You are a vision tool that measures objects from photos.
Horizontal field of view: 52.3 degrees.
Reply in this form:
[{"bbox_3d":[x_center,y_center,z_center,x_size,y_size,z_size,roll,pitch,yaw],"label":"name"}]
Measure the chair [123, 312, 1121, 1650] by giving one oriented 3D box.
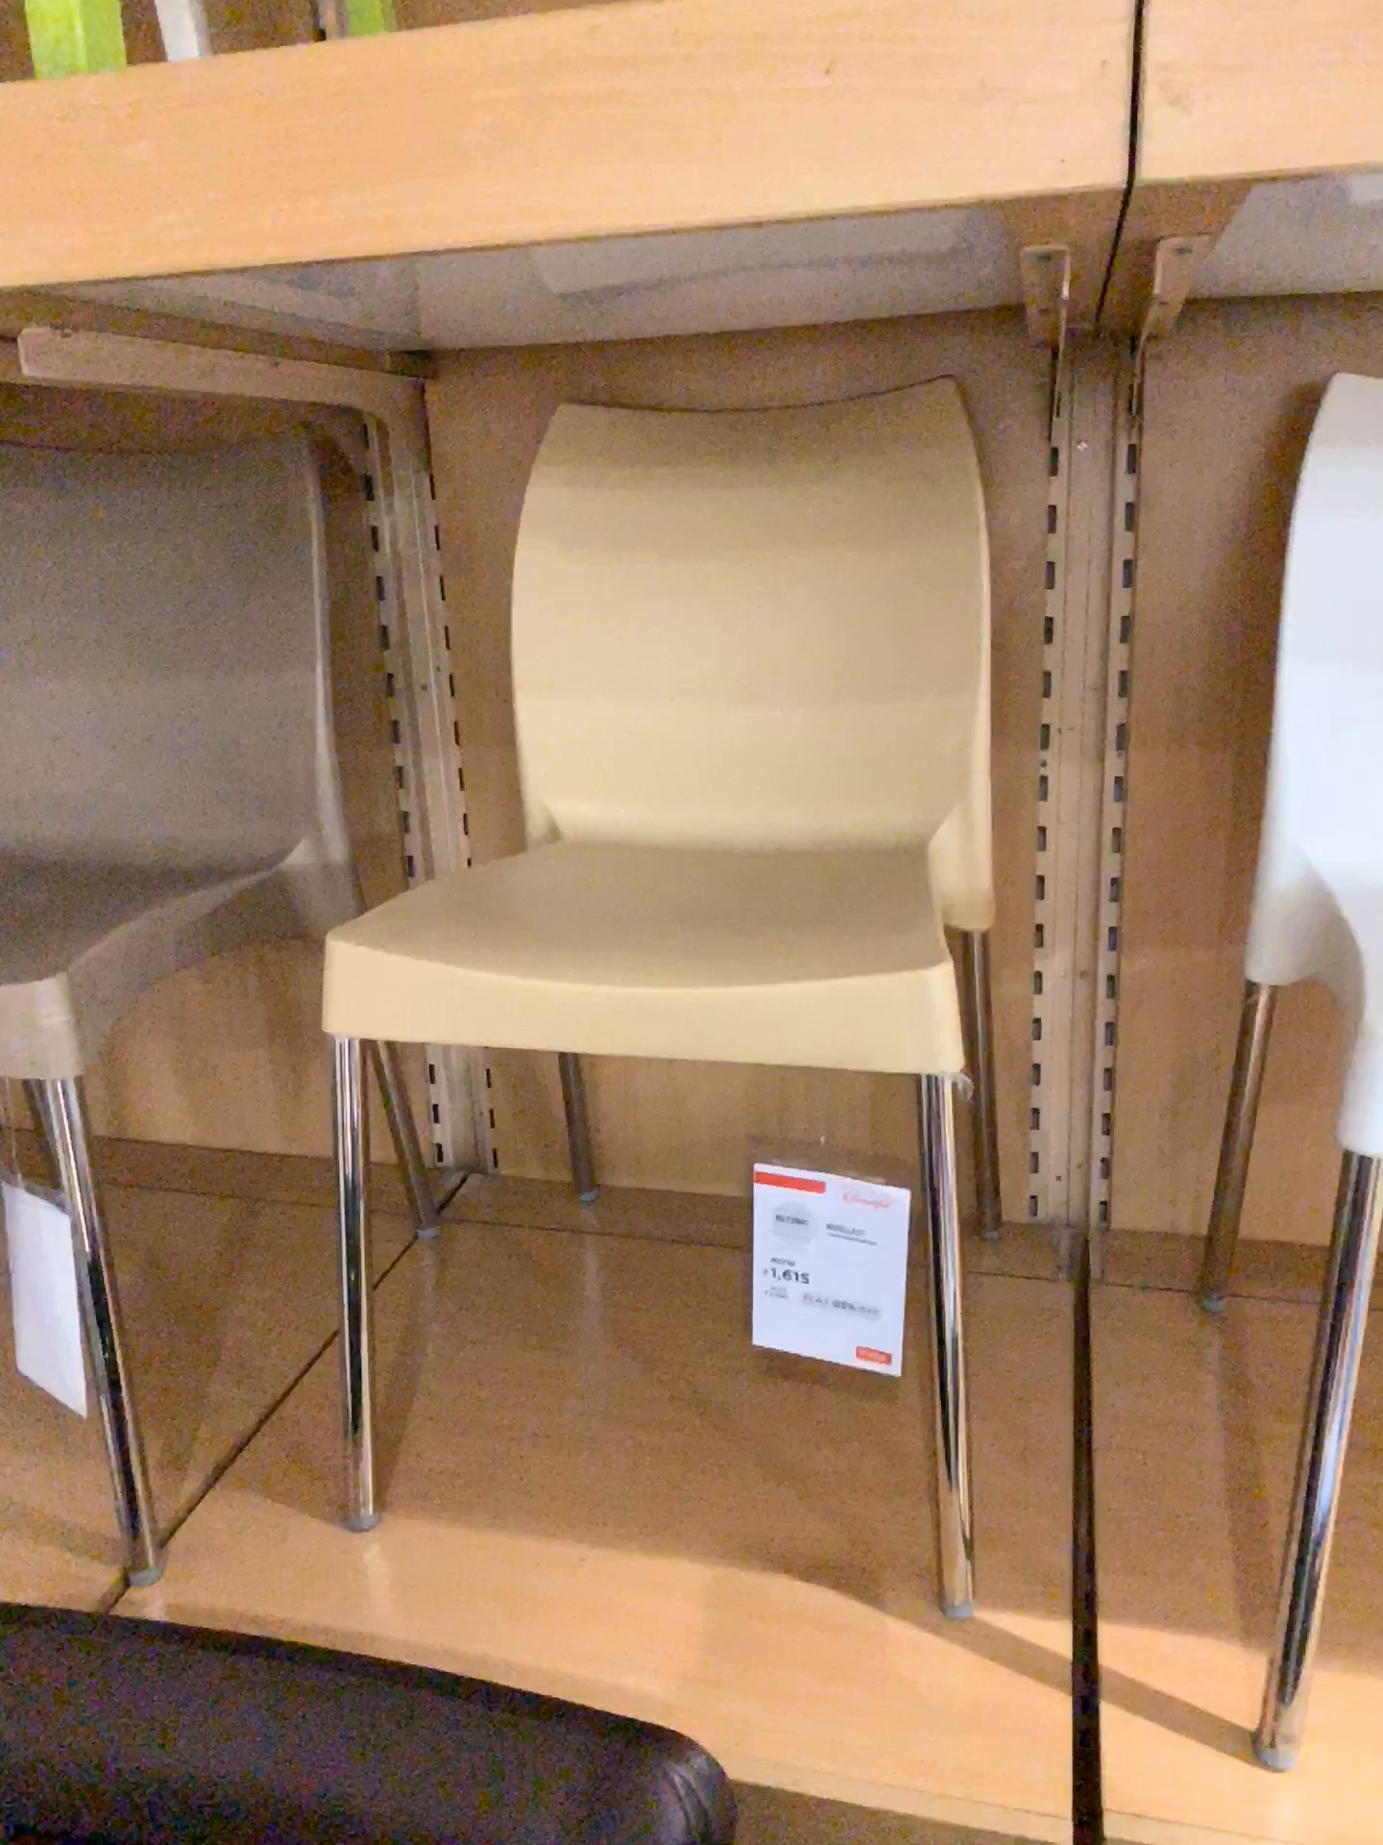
[{"bbox_3d":[0.009,-0.016,1.132,0.540,0.807,0.592,4,18,12],"label":"chair"}]
